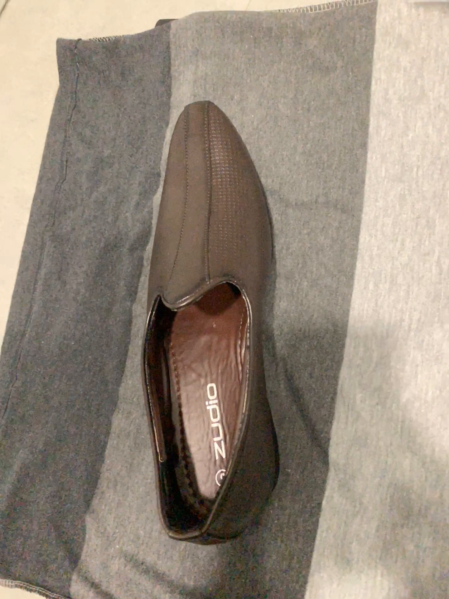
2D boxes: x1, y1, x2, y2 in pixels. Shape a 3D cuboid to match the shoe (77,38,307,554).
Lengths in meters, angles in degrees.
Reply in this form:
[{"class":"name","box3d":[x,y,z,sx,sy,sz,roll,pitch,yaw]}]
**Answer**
[{"class":"shoe","box3d":[-0.021,-0.002,0.297,0.100,0.100,0.270,-9,77,19]}]
